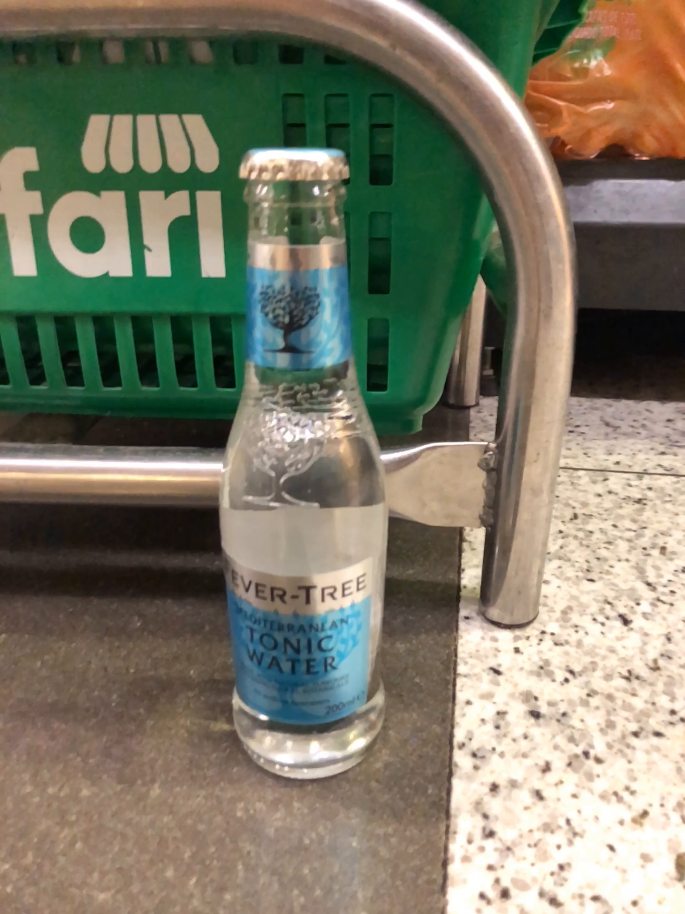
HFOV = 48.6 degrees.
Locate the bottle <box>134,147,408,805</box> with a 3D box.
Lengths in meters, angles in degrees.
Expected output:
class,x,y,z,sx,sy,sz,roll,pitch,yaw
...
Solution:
class,x,y,z,sx,sy,sz,roll,pitch,yaw
bottle,-0.013,0.011,0.226,0.060,0.189,0.050,2,23,5
